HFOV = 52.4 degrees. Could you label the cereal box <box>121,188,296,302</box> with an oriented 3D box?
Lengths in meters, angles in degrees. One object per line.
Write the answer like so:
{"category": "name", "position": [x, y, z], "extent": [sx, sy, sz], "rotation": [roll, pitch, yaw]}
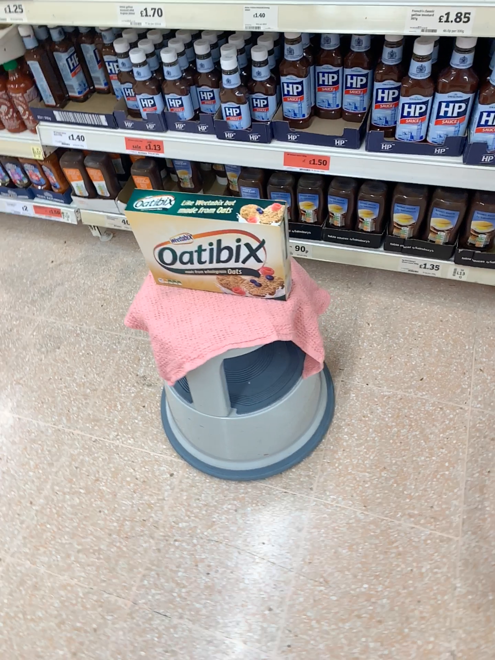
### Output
{"category": "cereal box", "position": [-0.058, -0.146, 0.887], "extent": [0.270, 0.189, 0.060], "rotation": [8, 58, 14]}
